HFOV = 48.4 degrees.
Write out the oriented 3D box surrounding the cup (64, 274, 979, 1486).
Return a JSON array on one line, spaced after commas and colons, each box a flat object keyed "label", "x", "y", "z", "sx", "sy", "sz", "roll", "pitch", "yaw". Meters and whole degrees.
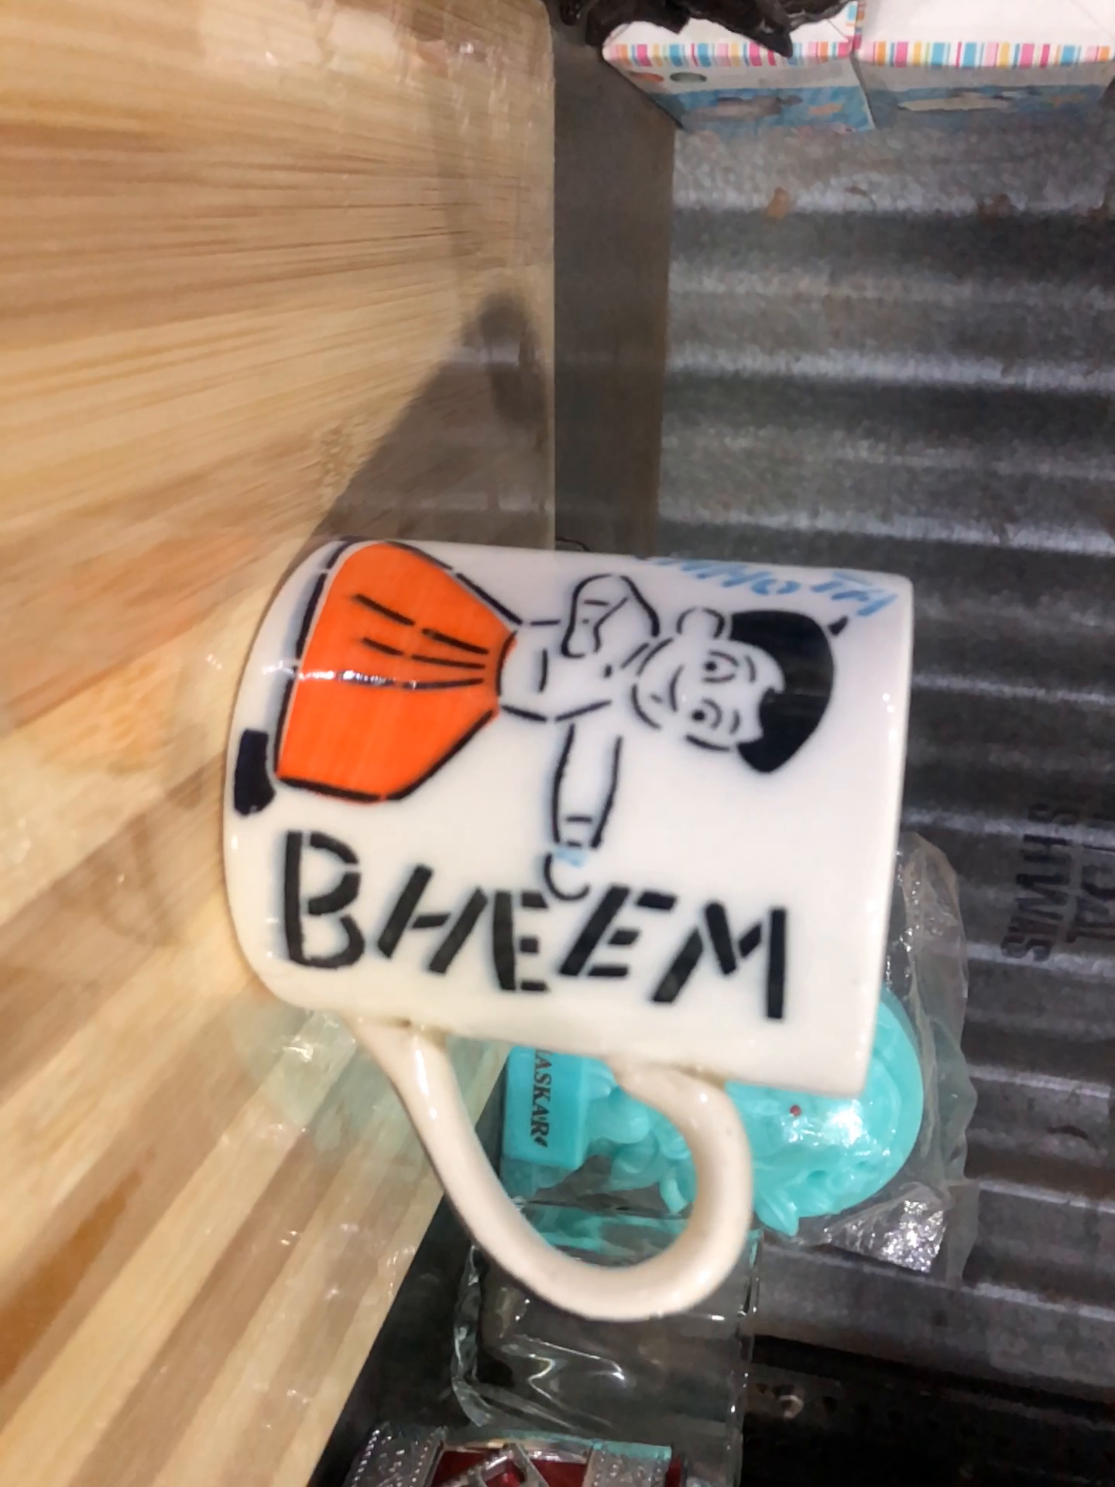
[{"label": "cup", "x": 0.007, "y": 0.017, "z": 0.178, "sx": 0.100, "sy": 0.080, "sz": 0.120, "roll": 55, "pitch": 42, "yaw": -72}]
